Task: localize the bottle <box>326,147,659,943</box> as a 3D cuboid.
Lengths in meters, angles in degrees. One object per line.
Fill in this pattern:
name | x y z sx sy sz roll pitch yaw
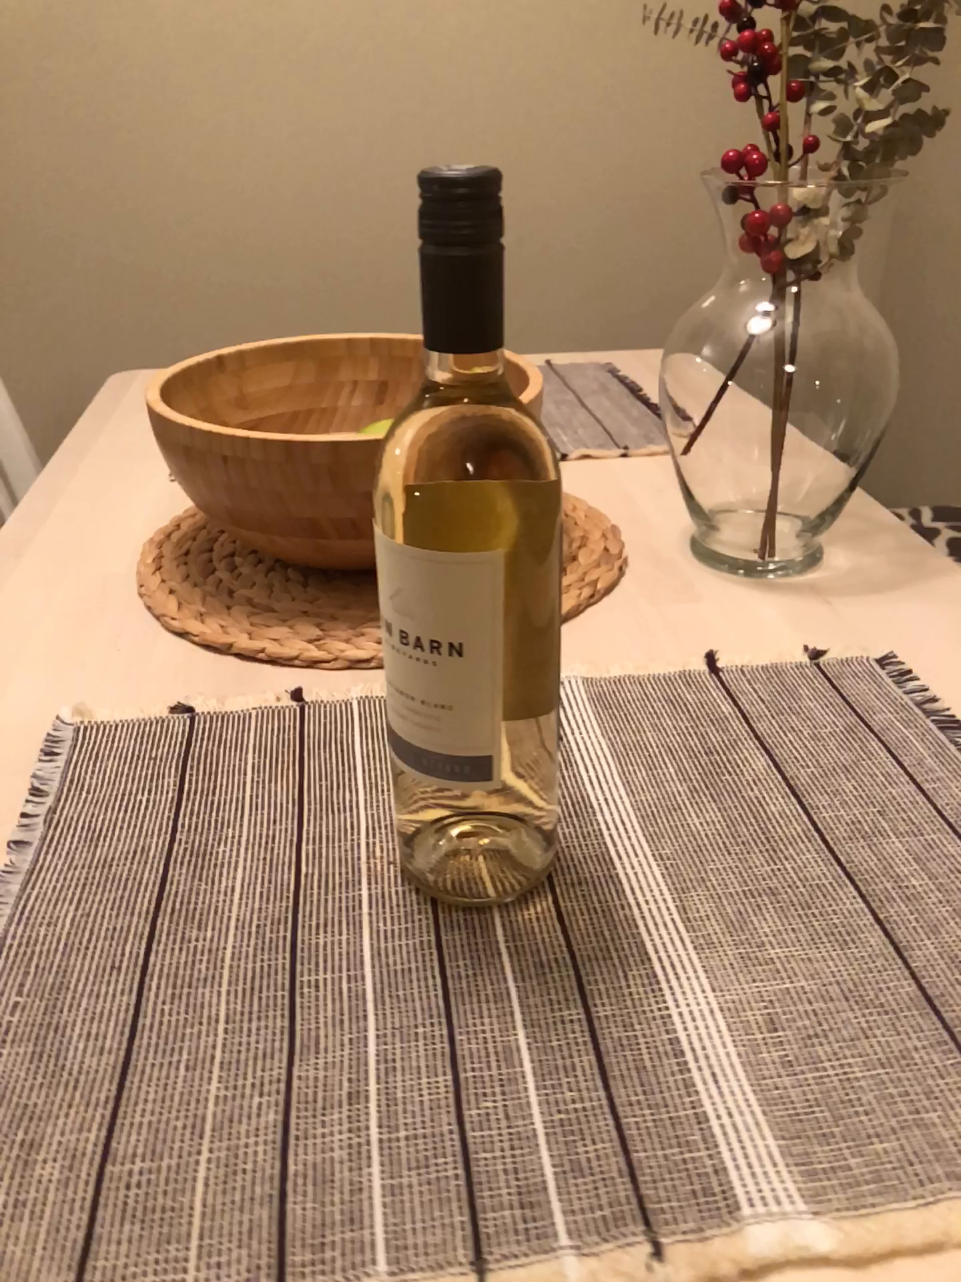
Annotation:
bottle | 0.006 -0.032 0.428 0.080 0.298 0.080 -1 27 0
